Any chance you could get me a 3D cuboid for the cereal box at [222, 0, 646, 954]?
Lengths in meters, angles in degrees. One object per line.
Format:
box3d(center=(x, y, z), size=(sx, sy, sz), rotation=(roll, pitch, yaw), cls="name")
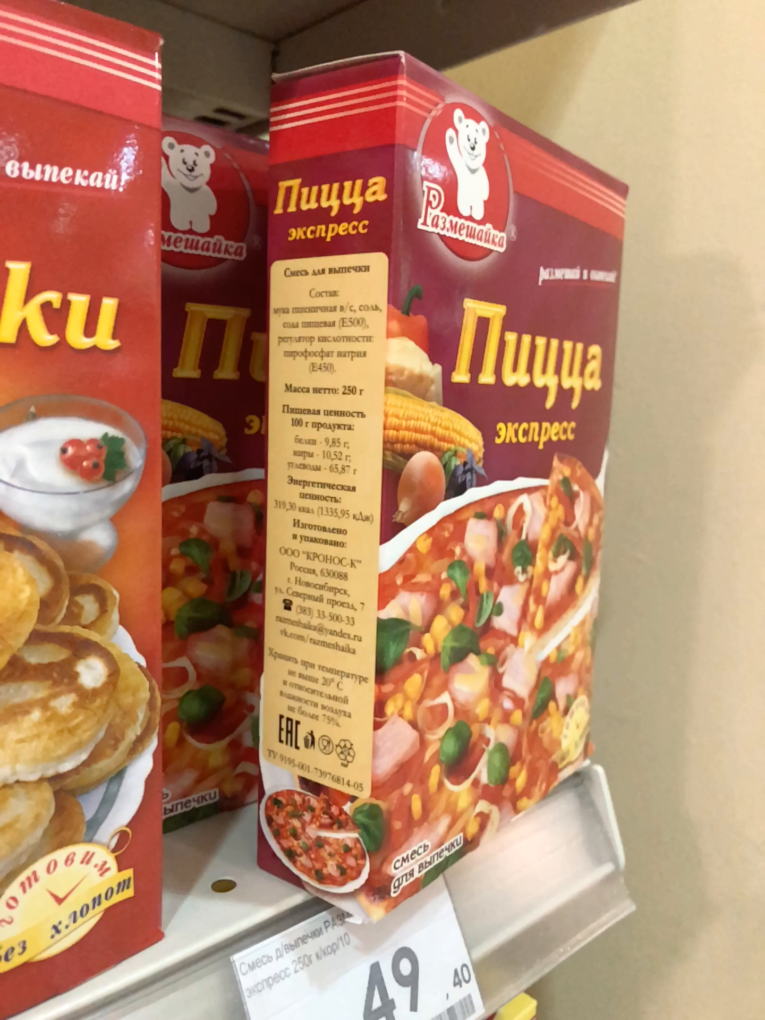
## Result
box3d(center=(0.023, -0.011, 0.233), size=(0.040, 0.190, 0.140), rotation=(5, 7, 36), cls="cereal box")
